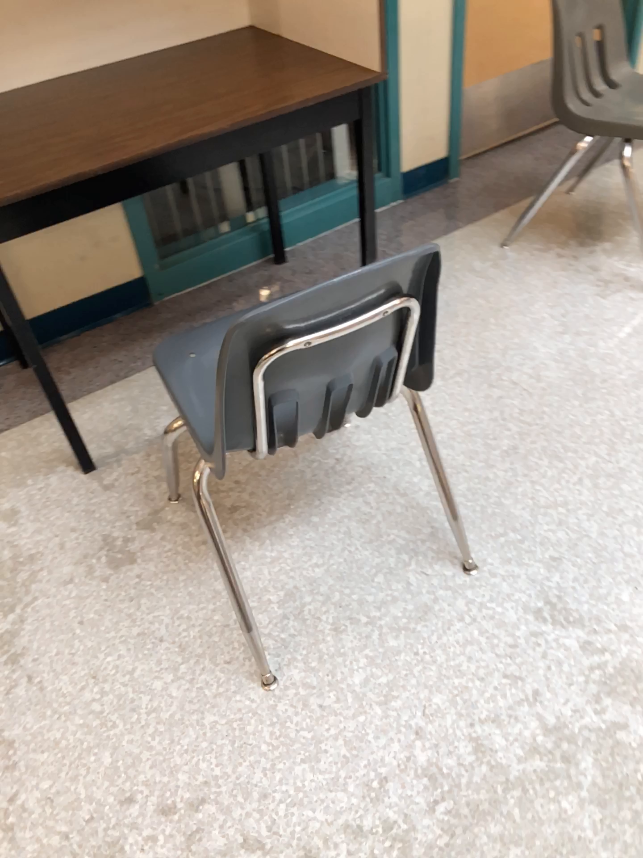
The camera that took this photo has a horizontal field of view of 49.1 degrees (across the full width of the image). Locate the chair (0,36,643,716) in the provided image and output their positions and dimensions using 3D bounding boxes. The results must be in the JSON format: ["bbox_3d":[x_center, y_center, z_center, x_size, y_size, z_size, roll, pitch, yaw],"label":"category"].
[{"bbox_3d":[-0.023,-0.110,1.113,0.591,0.695,0.614,-24,46,-17],"label":"chair"}]
